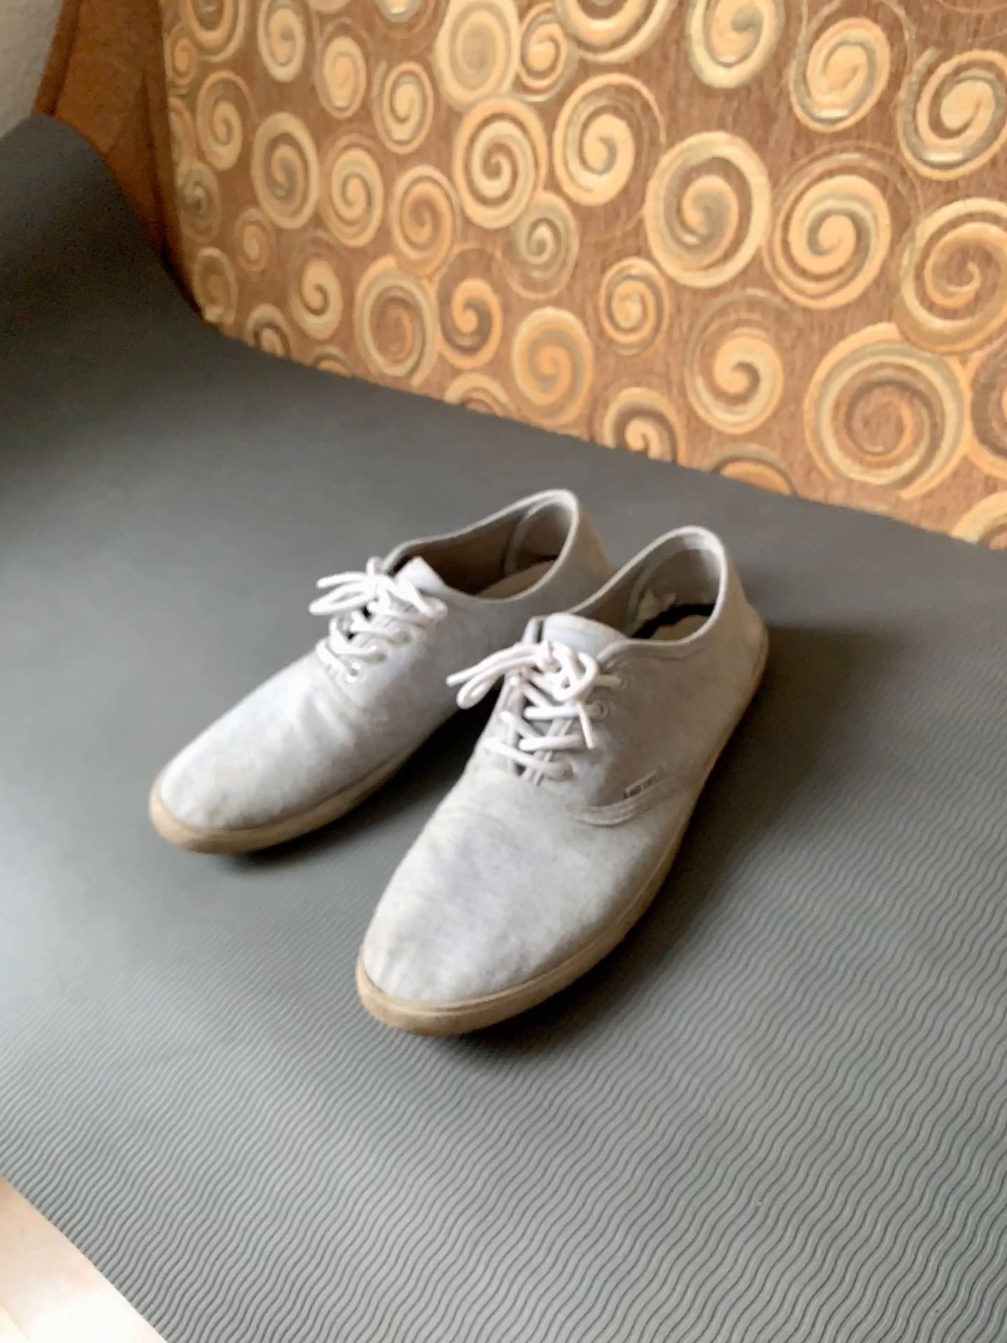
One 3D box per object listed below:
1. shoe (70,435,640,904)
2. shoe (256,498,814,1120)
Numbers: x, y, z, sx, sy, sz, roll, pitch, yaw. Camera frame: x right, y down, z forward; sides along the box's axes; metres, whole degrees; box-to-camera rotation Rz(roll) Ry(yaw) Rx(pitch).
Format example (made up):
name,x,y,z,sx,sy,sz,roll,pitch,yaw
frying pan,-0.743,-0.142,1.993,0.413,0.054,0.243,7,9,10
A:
name,x,y,z,sx,sy,sz,roll,pitch,yaw
shoe,-0.069,-0.012,0.540,0.260,0.080,0.111,-33,45,-18
shoe,0.031,0.039,0.460,0.110,0.080,0.260,19,52,32
